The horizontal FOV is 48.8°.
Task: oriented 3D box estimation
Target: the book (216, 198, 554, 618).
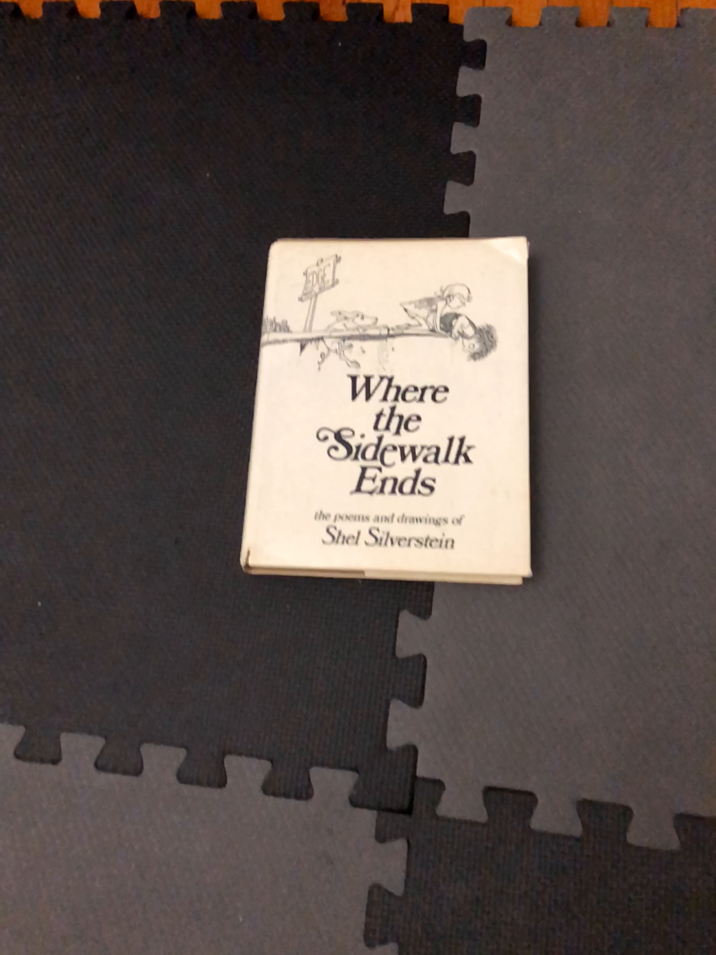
[{"bbox_3d":[0.025,-0.056,0.522,0.200,0.030,0.280,2,72,7],"label":"book"}]
